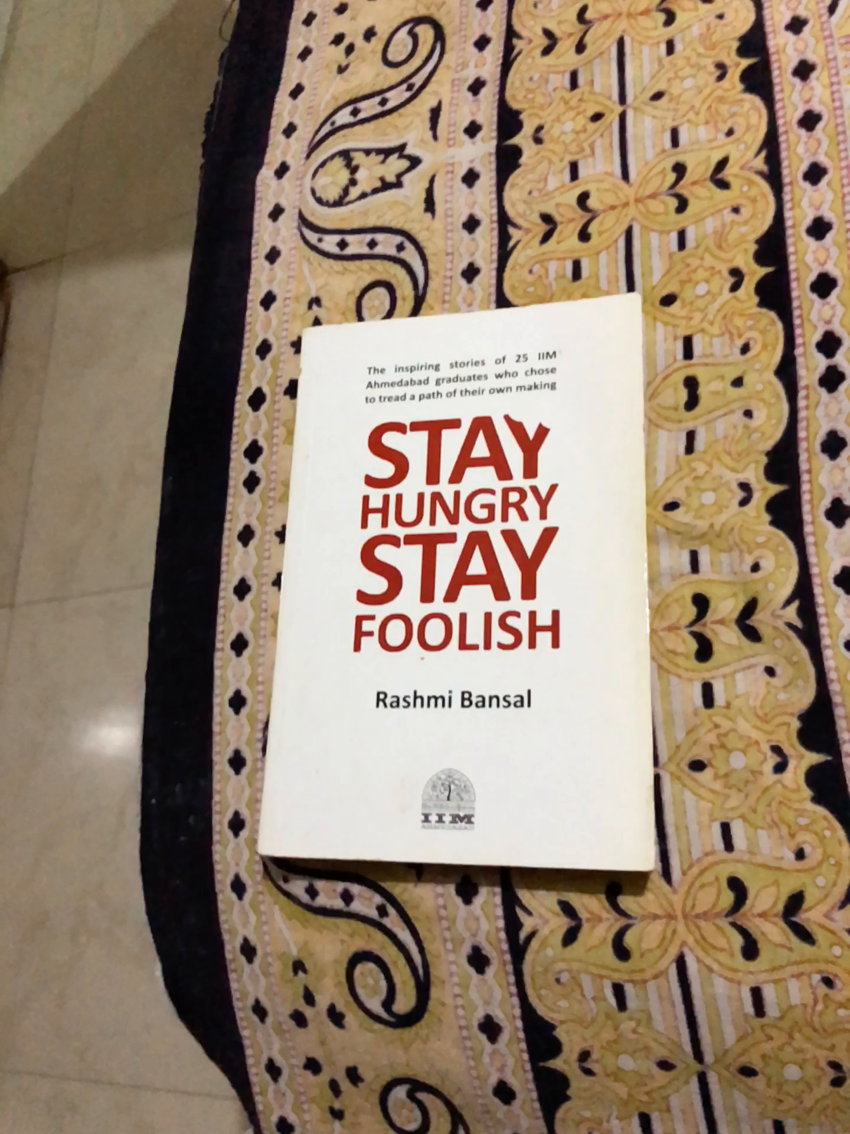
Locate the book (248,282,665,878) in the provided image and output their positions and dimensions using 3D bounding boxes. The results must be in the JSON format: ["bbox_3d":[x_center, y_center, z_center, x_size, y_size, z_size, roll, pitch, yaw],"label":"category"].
[{"bbox_3d":[0.016,0.003,0.360,0.140,0.040,0.210,-2,73,16],"label":"book"}]
